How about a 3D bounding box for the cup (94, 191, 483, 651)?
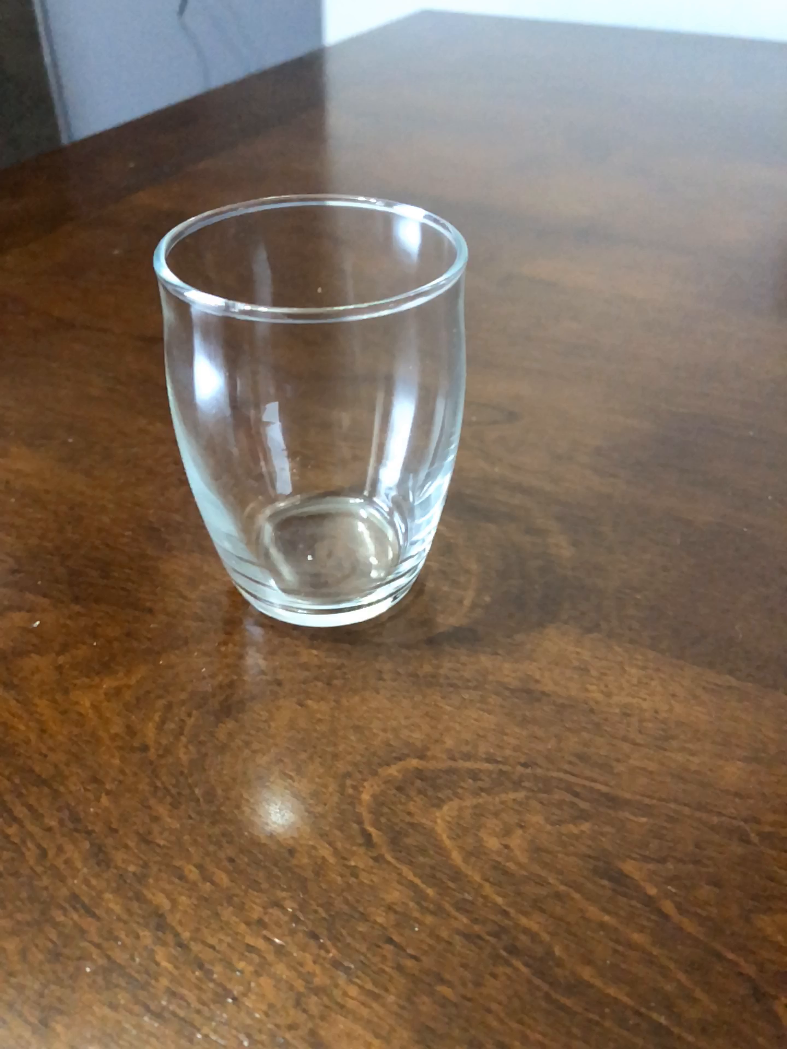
[{"bbox_3d":[-0.015,-0.023,0.184,0.060,0.070,0.060,0,38,0],"label":"cup"}]
